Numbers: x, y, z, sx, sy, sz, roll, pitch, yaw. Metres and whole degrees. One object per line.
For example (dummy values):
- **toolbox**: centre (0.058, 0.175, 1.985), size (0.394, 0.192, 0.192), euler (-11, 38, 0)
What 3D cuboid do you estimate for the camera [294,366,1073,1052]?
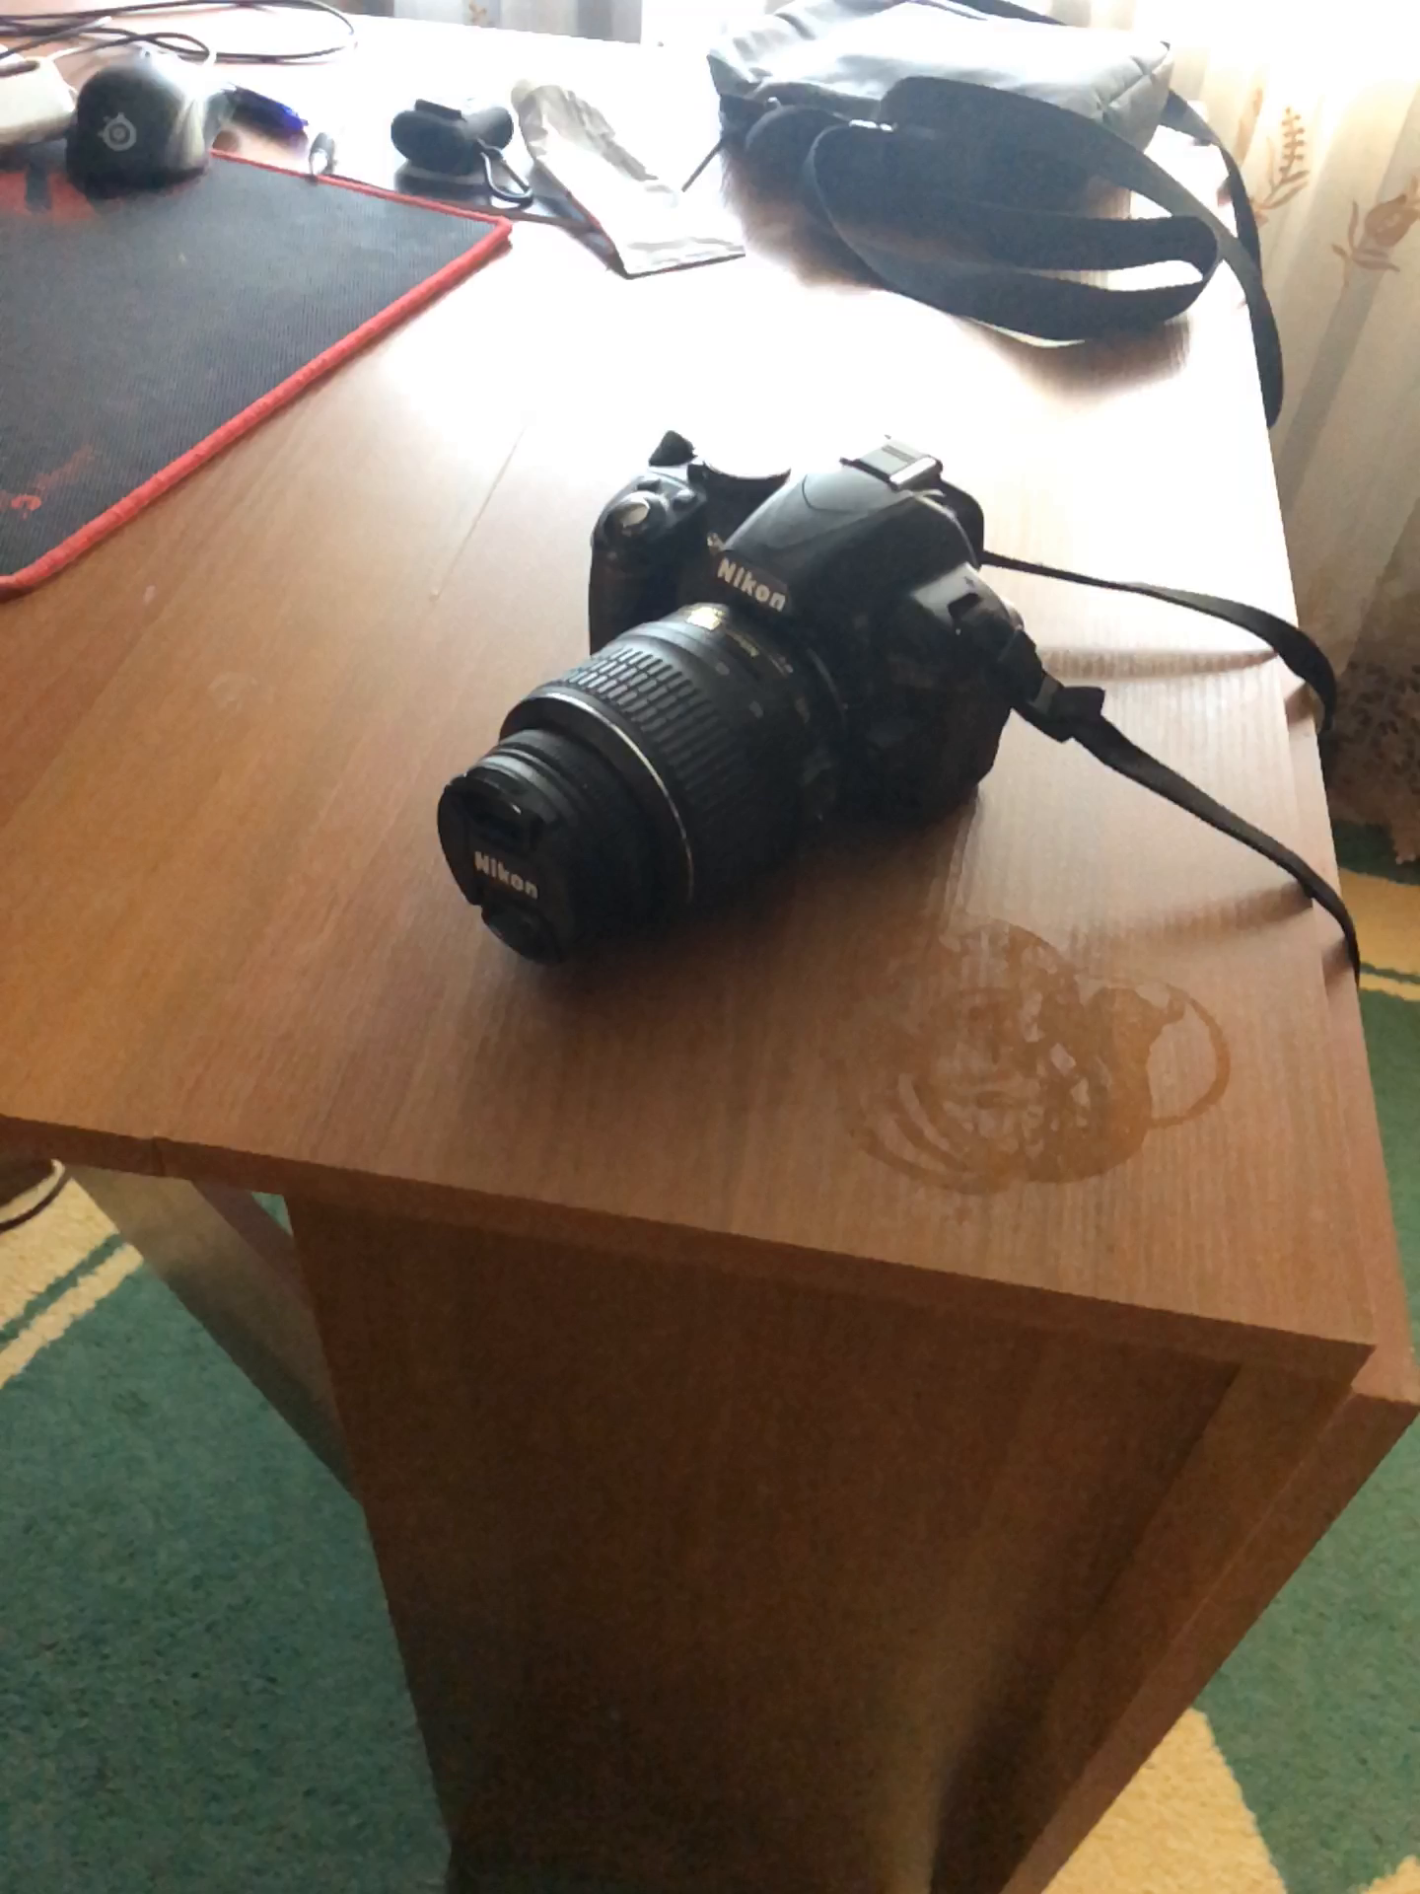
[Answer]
- **camera**: centre (-0.004, -0.071, 0.415), size (0.111, 0.078, 0.162), euler (36, 54, 27)
